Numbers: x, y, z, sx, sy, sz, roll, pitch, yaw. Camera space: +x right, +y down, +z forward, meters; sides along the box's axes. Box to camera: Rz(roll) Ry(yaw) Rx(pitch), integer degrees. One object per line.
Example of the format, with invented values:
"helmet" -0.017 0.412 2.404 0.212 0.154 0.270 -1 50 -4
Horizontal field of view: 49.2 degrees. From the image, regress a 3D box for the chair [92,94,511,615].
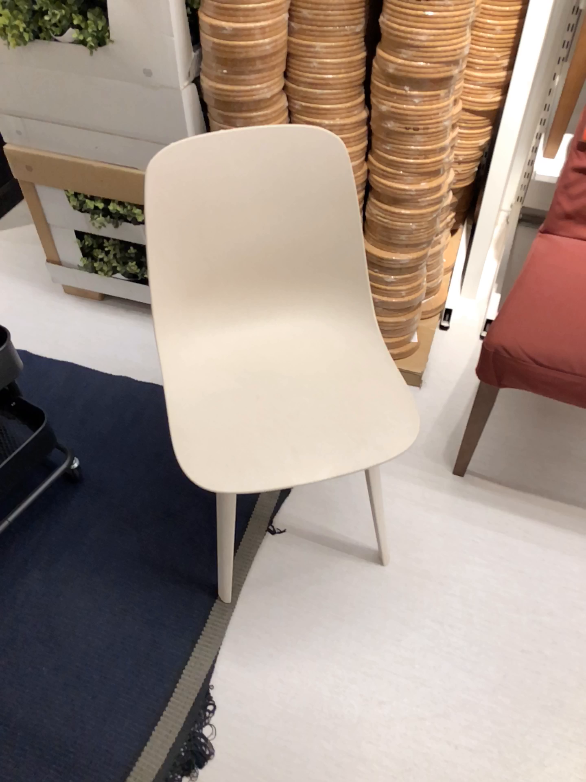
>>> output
"chair" -0.018 -0.032 1.124 0.450 0.696 0.493 -13 51 -8
